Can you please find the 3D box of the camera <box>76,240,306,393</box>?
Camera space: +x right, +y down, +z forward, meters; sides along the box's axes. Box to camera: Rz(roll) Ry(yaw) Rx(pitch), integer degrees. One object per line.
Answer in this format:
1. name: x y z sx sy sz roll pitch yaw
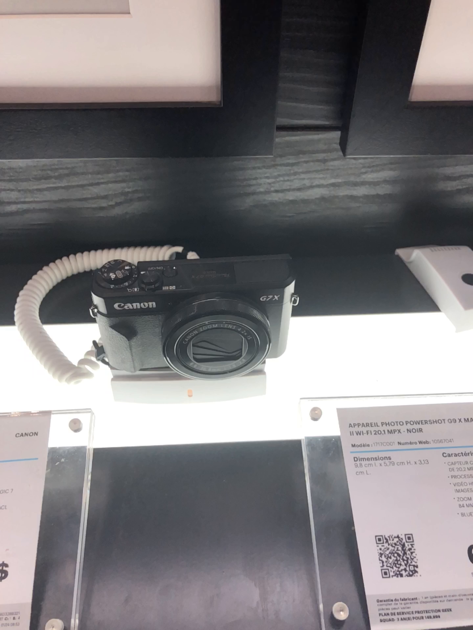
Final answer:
1. camera: -0.023 0.002 0.291 0.110 0.079 0.030 -3 43 -5
